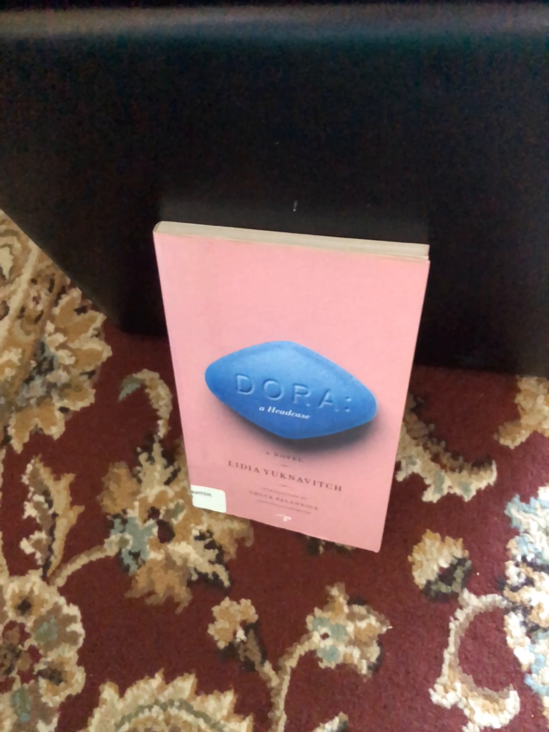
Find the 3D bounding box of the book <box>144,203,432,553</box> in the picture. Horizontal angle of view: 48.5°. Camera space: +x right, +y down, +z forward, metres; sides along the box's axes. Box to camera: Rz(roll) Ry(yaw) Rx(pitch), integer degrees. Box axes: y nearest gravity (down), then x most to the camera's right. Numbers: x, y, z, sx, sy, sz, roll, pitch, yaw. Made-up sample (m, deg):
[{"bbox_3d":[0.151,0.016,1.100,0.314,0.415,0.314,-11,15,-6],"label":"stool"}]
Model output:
[{"bbox_3d":[0.005,0.020,0.392,0.149,0.232,0.030,11,39,13],"label":"book"}]
